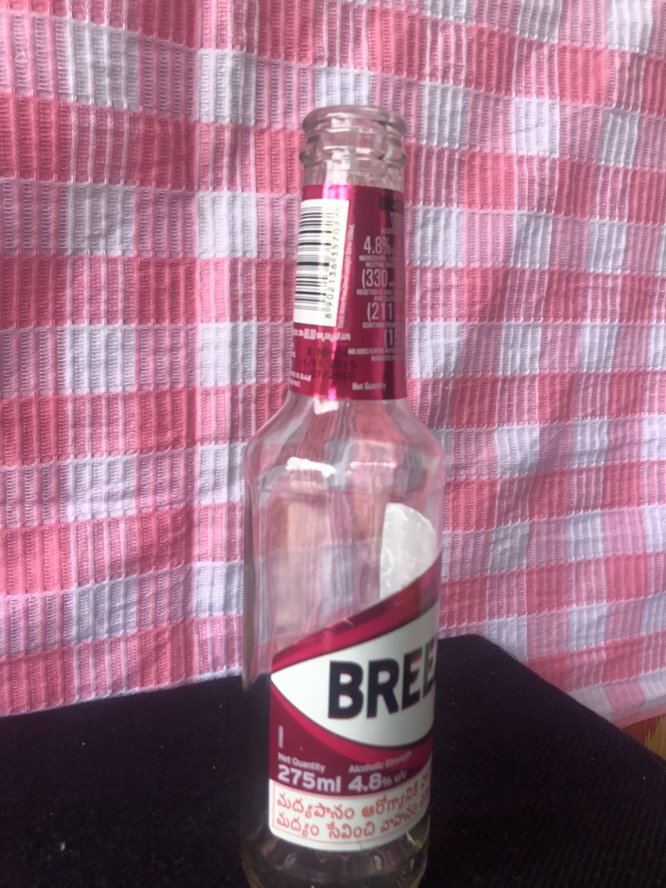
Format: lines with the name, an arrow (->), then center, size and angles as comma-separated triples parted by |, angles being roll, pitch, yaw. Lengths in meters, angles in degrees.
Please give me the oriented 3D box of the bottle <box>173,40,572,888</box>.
bottle -> 0.006, 0.026, 0.186 | 0.060, 0.209, 0.060 | 4, 11, -1
